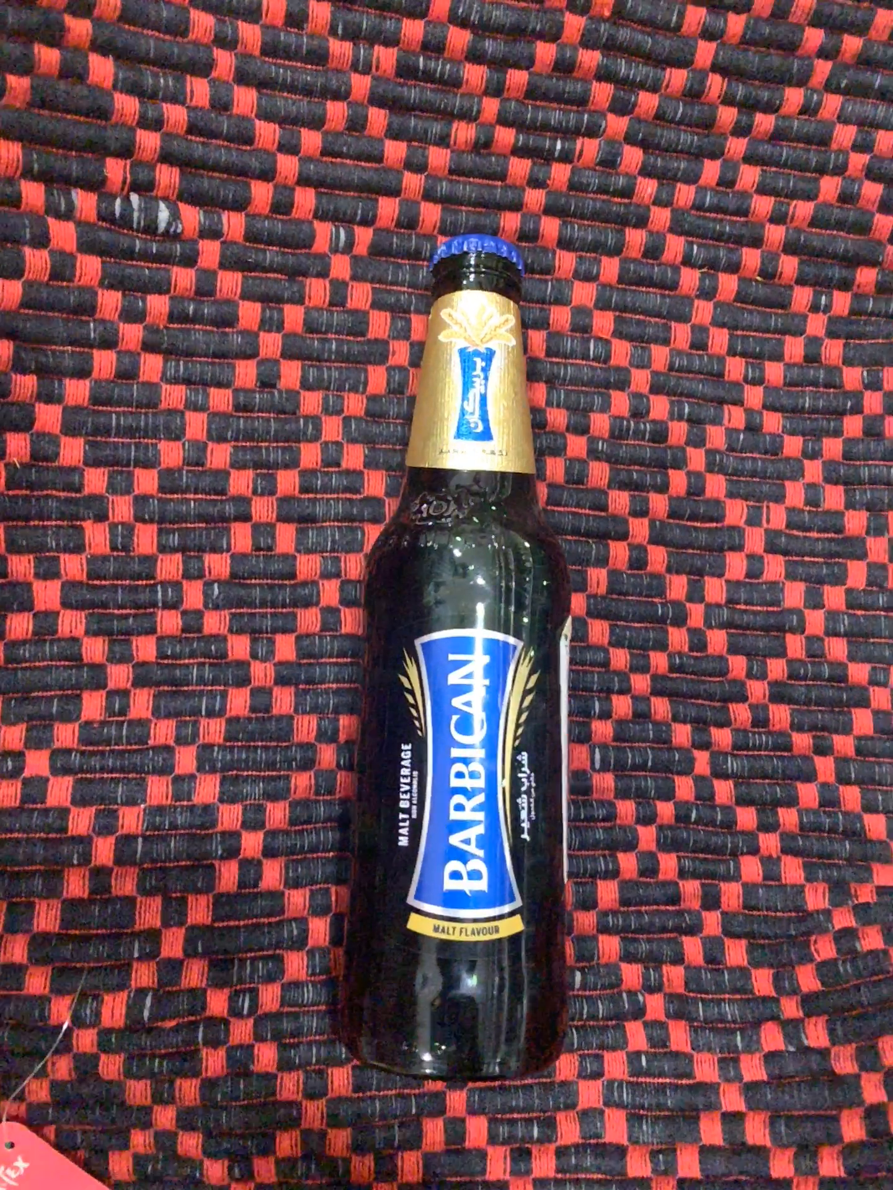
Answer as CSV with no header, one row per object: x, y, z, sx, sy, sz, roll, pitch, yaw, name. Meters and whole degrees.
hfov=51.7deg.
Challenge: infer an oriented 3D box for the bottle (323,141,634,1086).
0.006,0.001,0.236,0.060,0.060,0.210,4,78,-12,bottle
